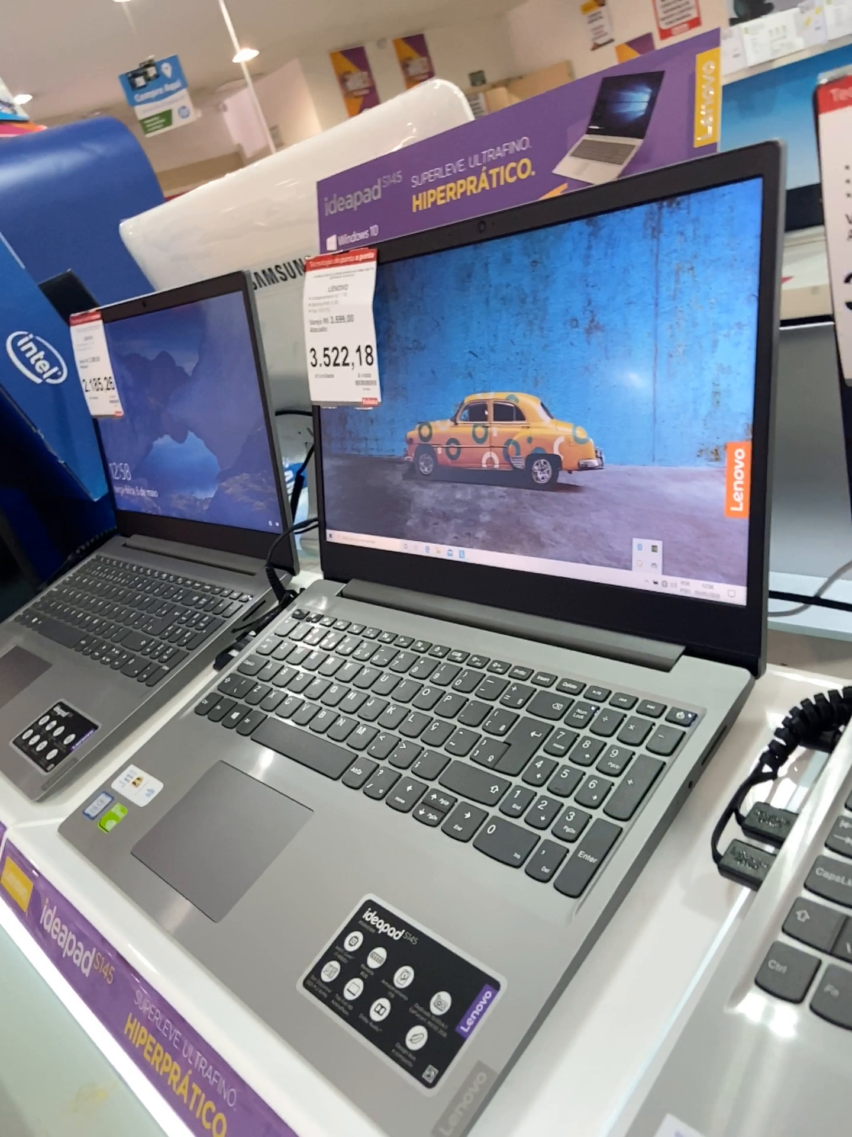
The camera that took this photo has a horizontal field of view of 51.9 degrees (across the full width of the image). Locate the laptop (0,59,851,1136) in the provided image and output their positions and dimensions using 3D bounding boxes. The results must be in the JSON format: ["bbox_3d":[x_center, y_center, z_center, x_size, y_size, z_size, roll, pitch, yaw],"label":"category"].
[{"bbox_3d":[-0.034,-0.029,0.460,0.347,0.209,0.365,8,42,48],"label":"laptop"}]
